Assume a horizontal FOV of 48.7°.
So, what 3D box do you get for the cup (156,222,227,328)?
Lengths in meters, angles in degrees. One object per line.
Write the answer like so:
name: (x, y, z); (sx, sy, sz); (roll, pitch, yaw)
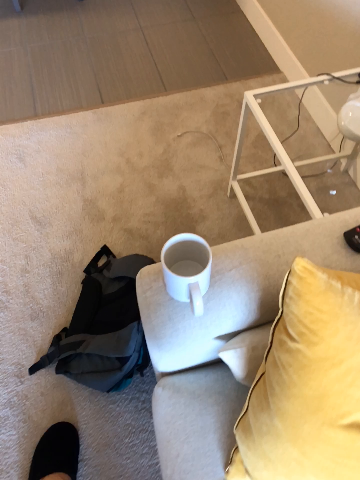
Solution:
cup: (0.015, 0.056, 0.621); (0.080, 0.100, 0.120); (-10, 59, -6)
